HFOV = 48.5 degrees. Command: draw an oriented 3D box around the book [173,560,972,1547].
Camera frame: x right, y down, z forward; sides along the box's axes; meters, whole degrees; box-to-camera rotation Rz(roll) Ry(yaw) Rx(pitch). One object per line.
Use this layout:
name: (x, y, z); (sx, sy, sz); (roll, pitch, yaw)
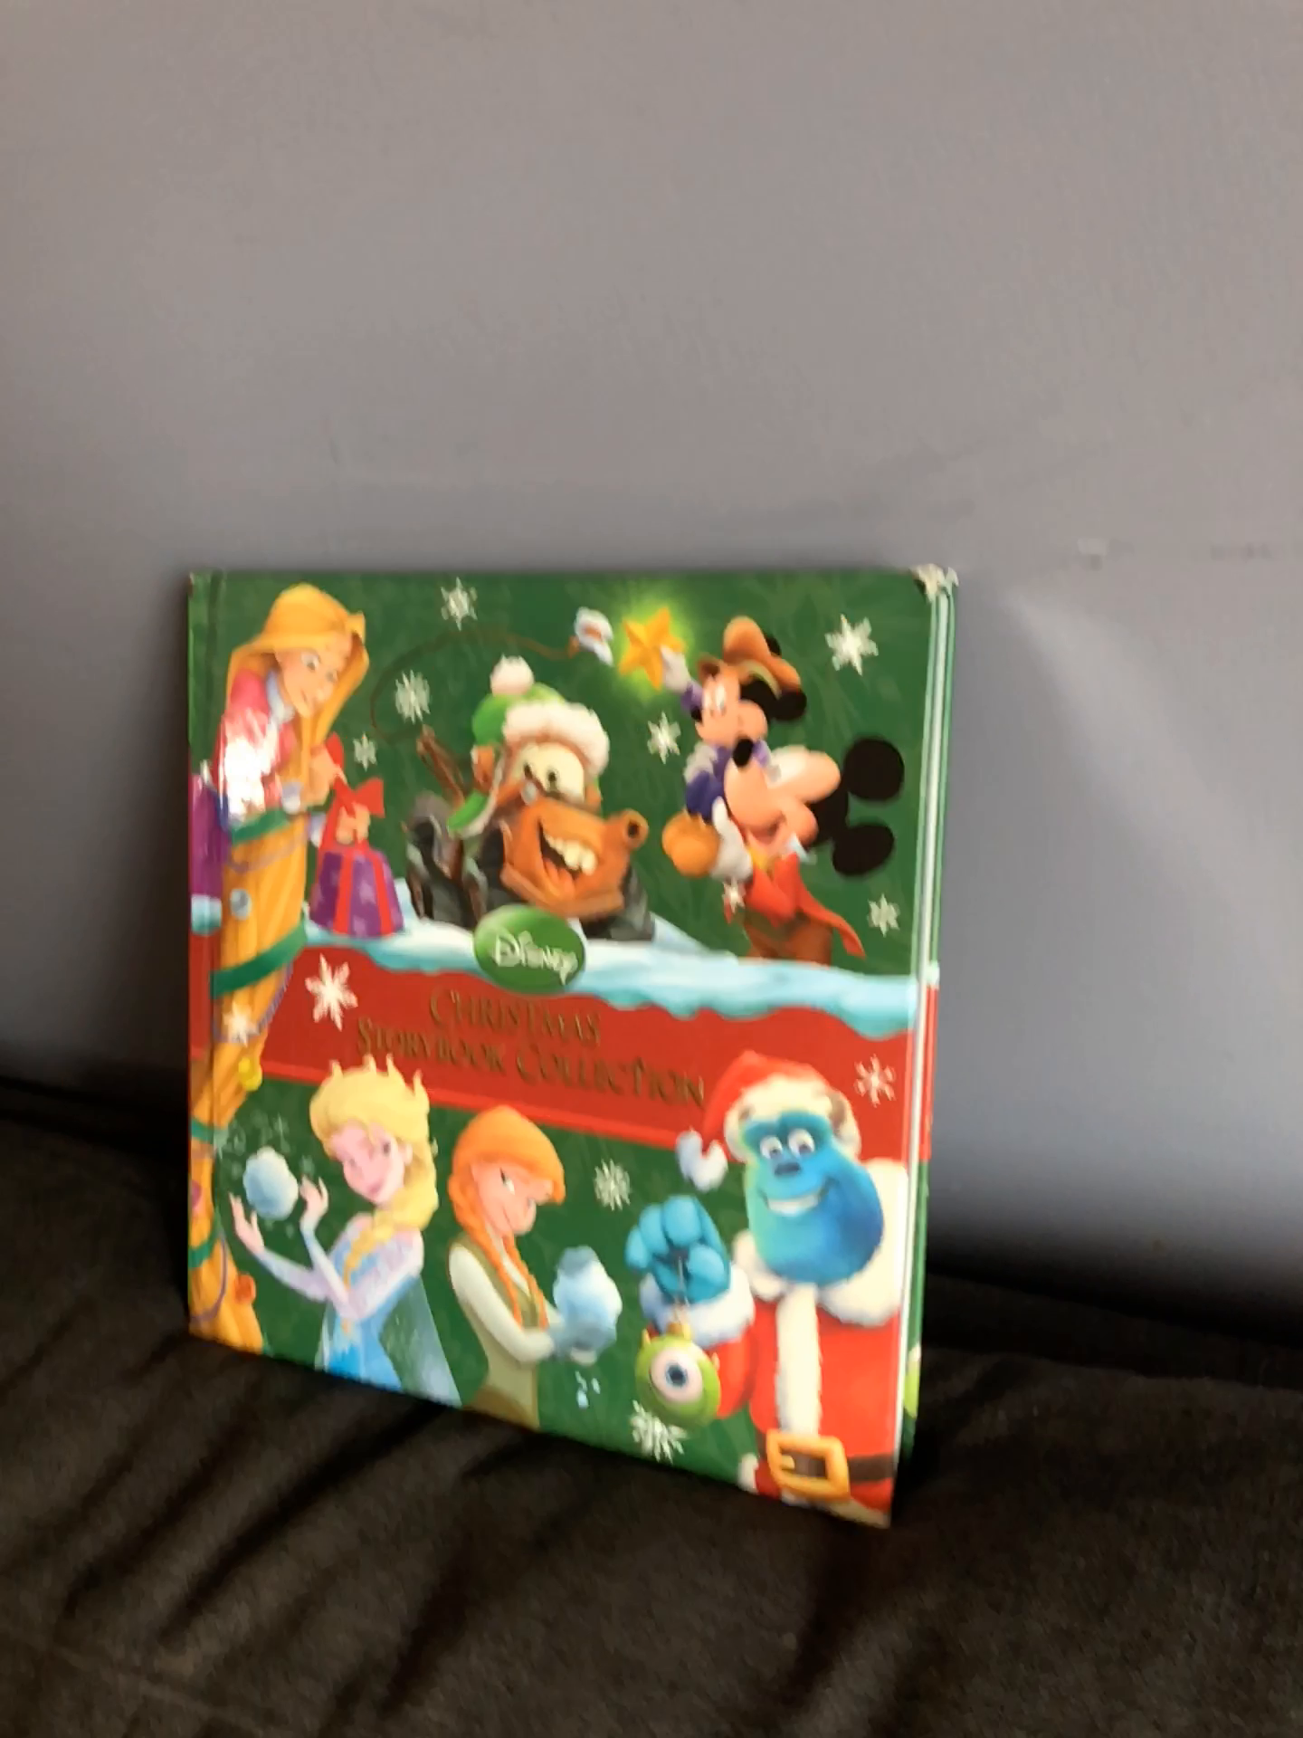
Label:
book: (-0.033, 0.037, 0.404); (0.227, 0.238, 0.033); (5, 9, 26)
